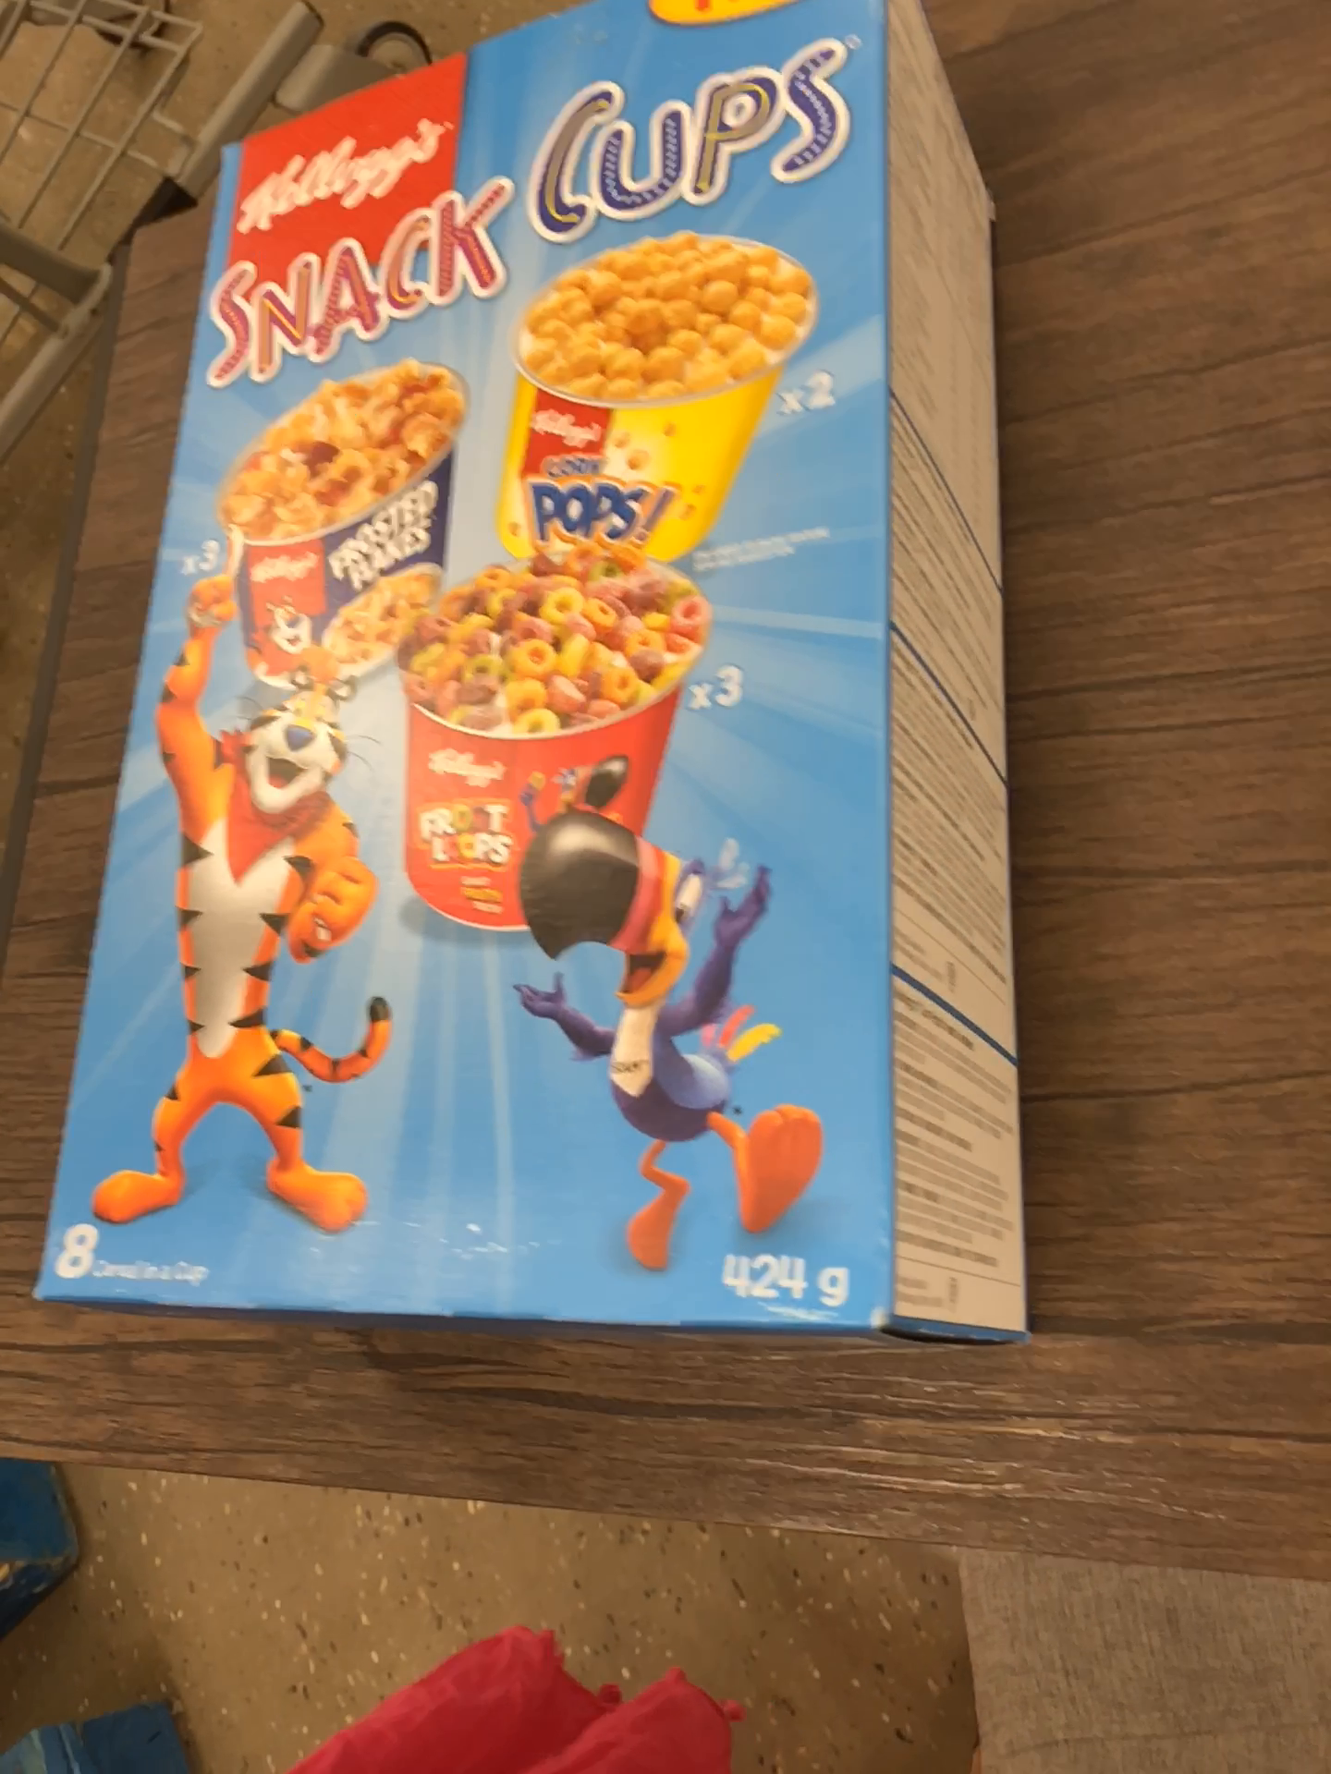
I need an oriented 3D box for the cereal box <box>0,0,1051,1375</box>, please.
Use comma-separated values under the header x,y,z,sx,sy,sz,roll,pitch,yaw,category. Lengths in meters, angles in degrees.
x,y,z,sx,sy,sz,roll,pitch,yaw,category
-0.029,-0.054,0.379,0.220,0.100,0.330,-6,72,25,cereal box
